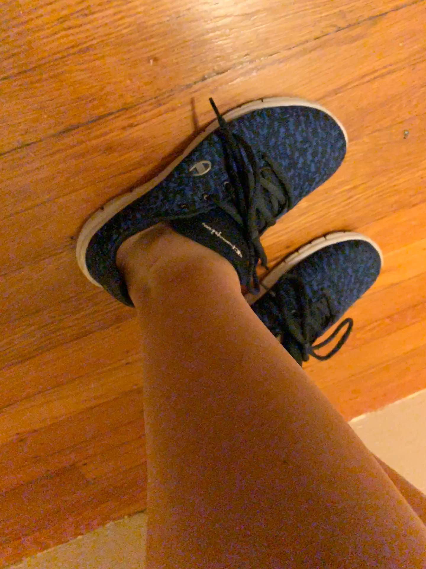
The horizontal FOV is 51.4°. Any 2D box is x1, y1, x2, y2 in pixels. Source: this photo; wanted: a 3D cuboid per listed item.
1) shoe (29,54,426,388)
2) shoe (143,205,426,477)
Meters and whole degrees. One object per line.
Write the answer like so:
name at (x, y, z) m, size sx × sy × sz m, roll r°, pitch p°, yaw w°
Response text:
shoe at (0.004, -0.064, 0.393) m, size 0.290 × 0.149 × 0.116 m, roll -30°, pitch 125°, yaw 2°
shoe at (0.082, 0.058, 0.483) m, size 0.280 × 0.129 × 0.118 m, roll -32°, pitch 125°, yaw 4°
